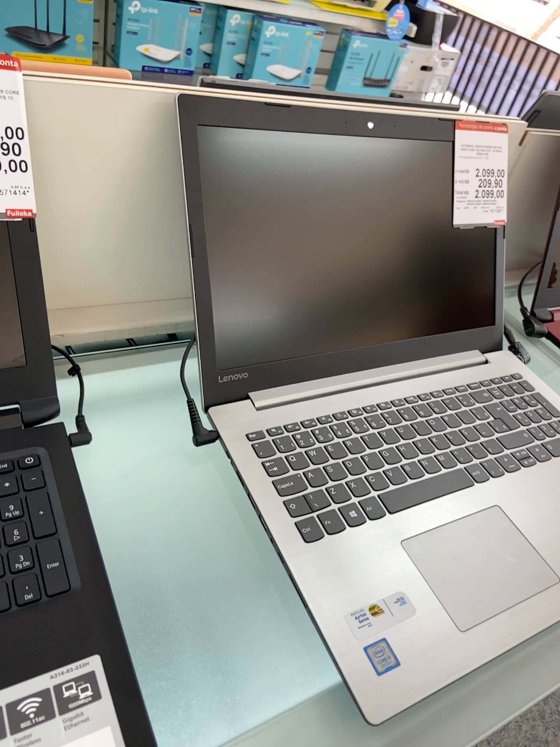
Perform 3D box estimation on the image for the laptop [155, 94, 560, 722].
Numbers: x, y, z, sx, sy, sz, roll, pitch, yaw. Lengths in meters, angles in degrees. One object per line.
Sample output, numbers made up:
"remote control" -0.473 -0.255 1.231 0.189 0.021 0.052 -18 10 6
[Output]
"laptop" 0.146 -0.036 0.466 0.371 0.194 0.390 -9 46 -29
